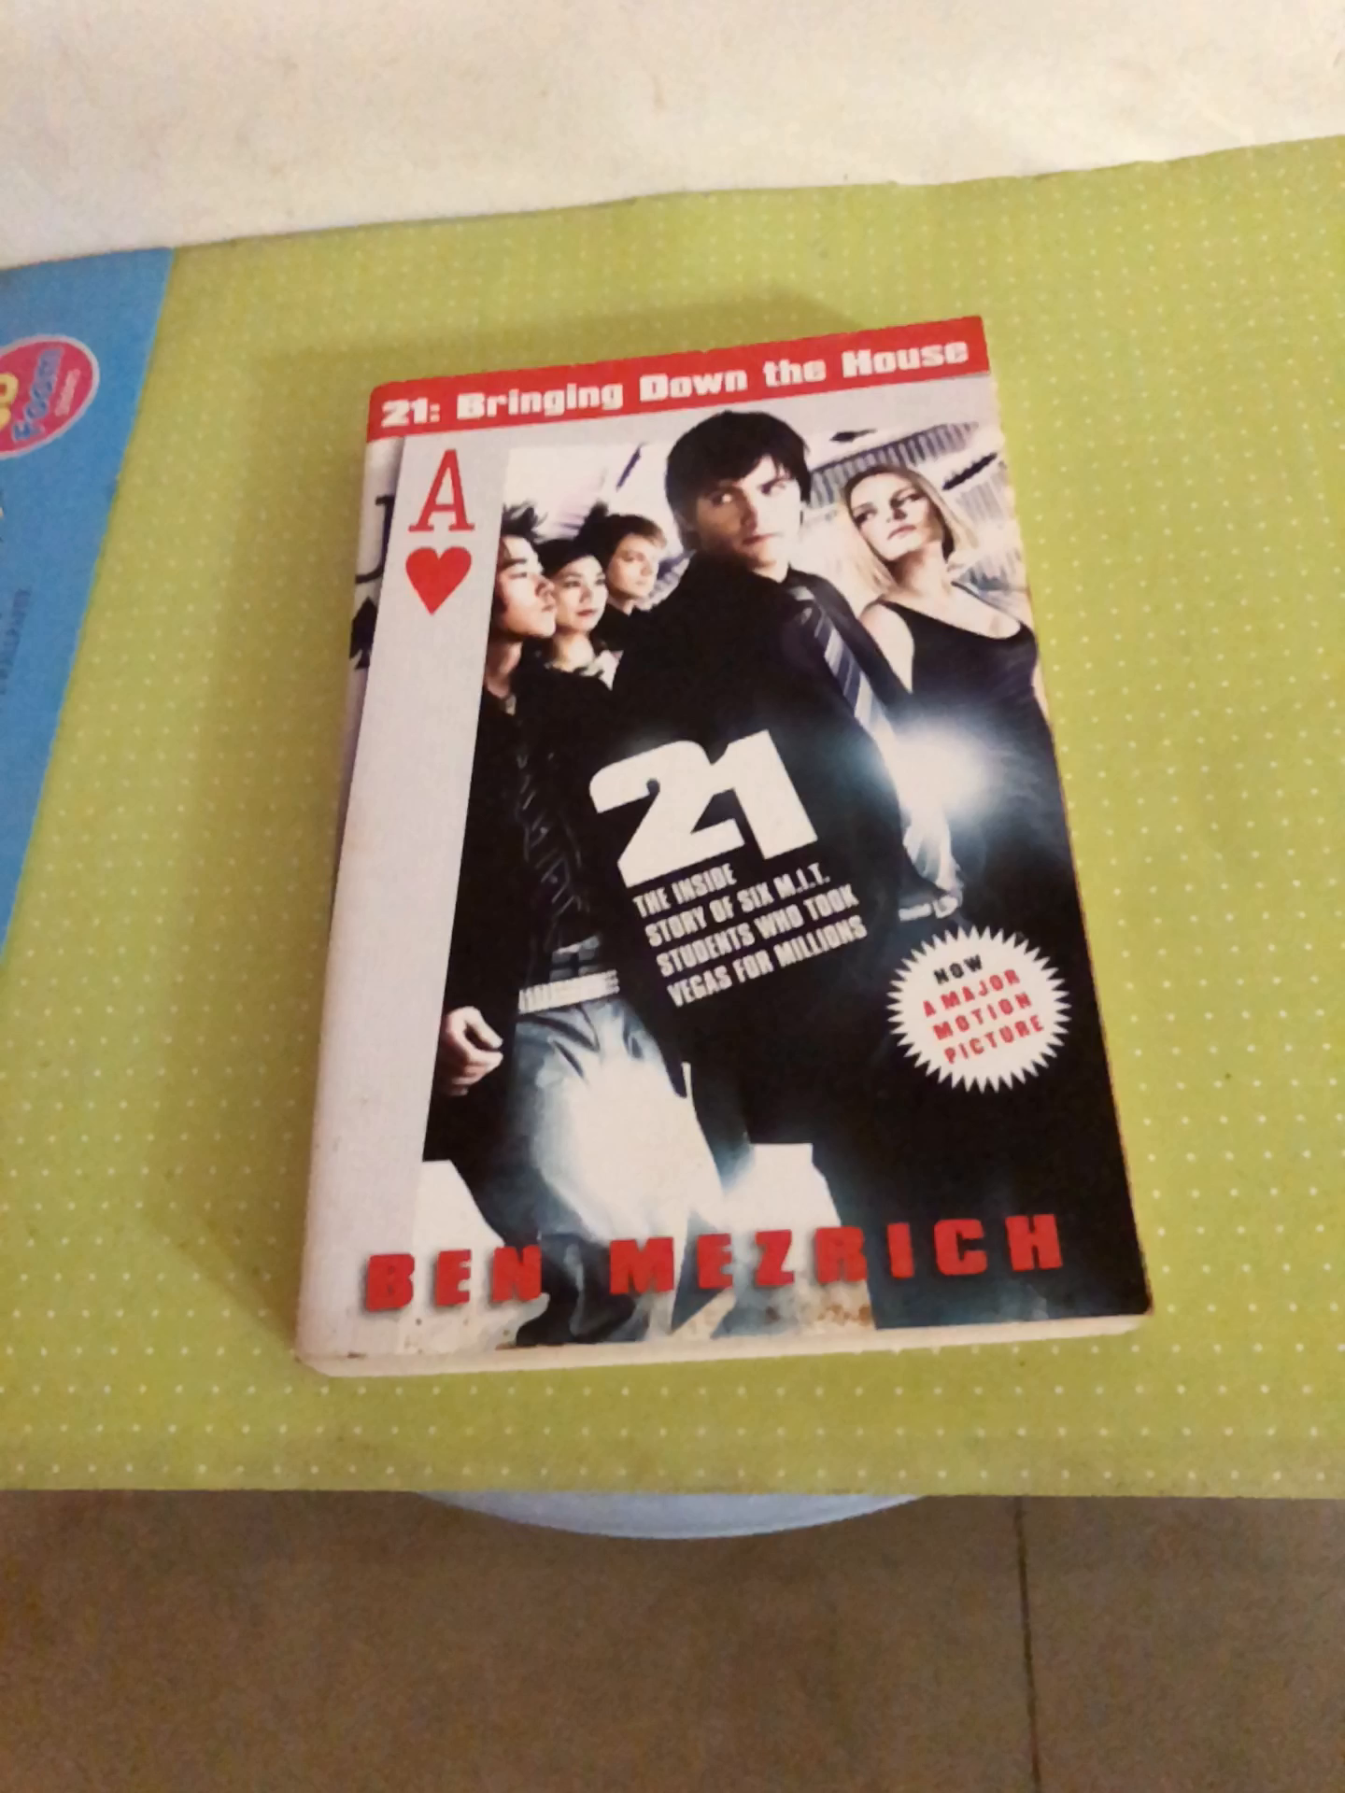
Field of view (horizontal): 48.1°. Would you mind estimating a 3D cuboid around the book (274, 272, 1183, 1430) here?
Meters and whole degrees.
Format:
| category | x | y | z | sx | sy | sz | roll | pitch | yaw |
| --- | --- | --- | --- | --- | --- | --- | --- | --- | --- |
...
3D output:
| category | x | y | z | sx | sy | sz | roll | pitch | yaw |
| --- | --- | --- | --- | --- | --- | --- | --- | --- | --- |
| book | 0.005 | -0.017 | 0.279 | 0.130 | 0.040 | 0.210 | -5 | 63 | 5 |
